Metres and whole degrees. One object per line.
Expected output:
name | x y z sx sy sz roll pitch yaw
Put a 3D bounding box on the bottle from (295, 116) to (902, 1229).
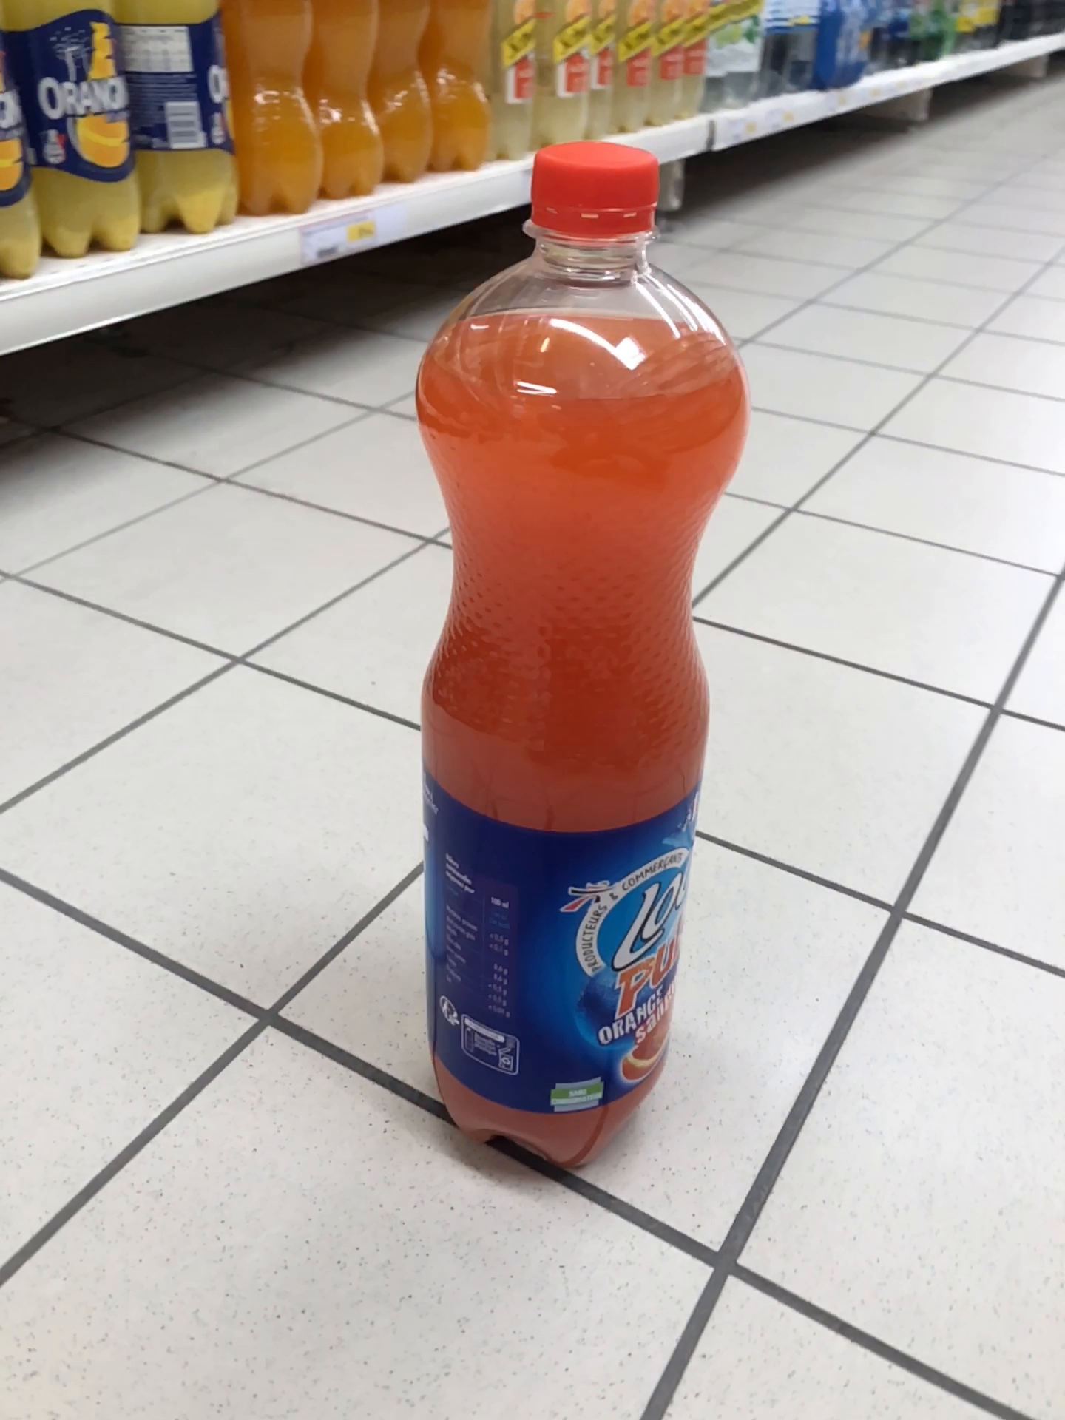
bottle | 0.015 -0.002 0.361 0.100 0.308 0.111 22 38 29
